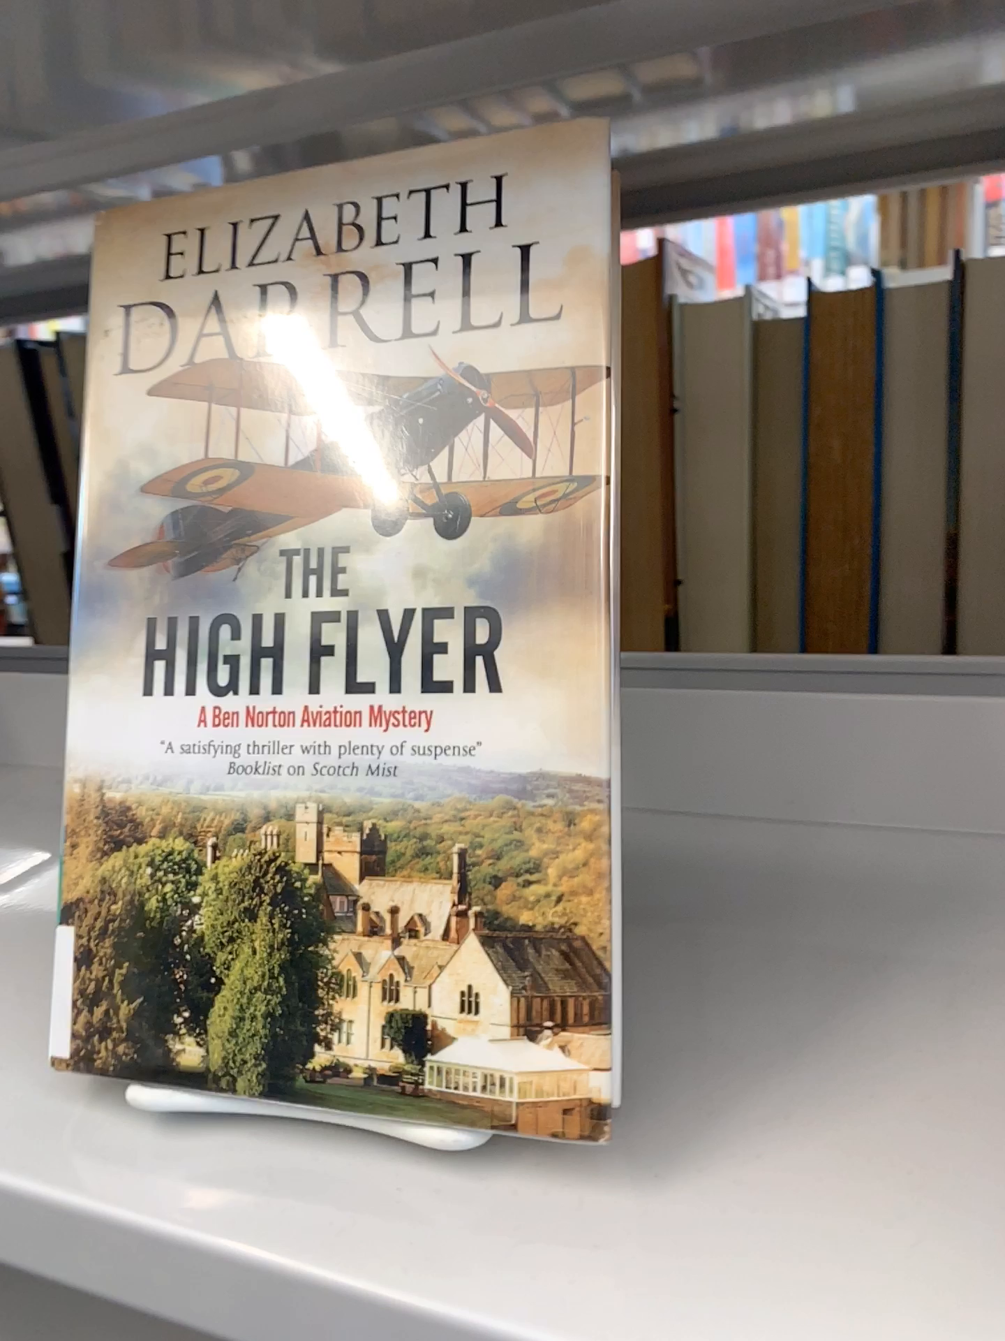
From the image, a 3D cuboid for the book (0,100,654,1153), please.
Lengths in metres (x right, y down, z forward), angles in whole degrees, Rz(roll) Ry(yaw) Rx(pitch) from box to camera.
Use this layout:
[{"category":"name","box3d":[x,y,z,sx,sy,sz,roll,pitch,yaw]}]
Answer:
[{"category":"book","box3d":[-0.042,-0.011,0.248,0.151,0.215,0.031,-1,-5,17]}]
